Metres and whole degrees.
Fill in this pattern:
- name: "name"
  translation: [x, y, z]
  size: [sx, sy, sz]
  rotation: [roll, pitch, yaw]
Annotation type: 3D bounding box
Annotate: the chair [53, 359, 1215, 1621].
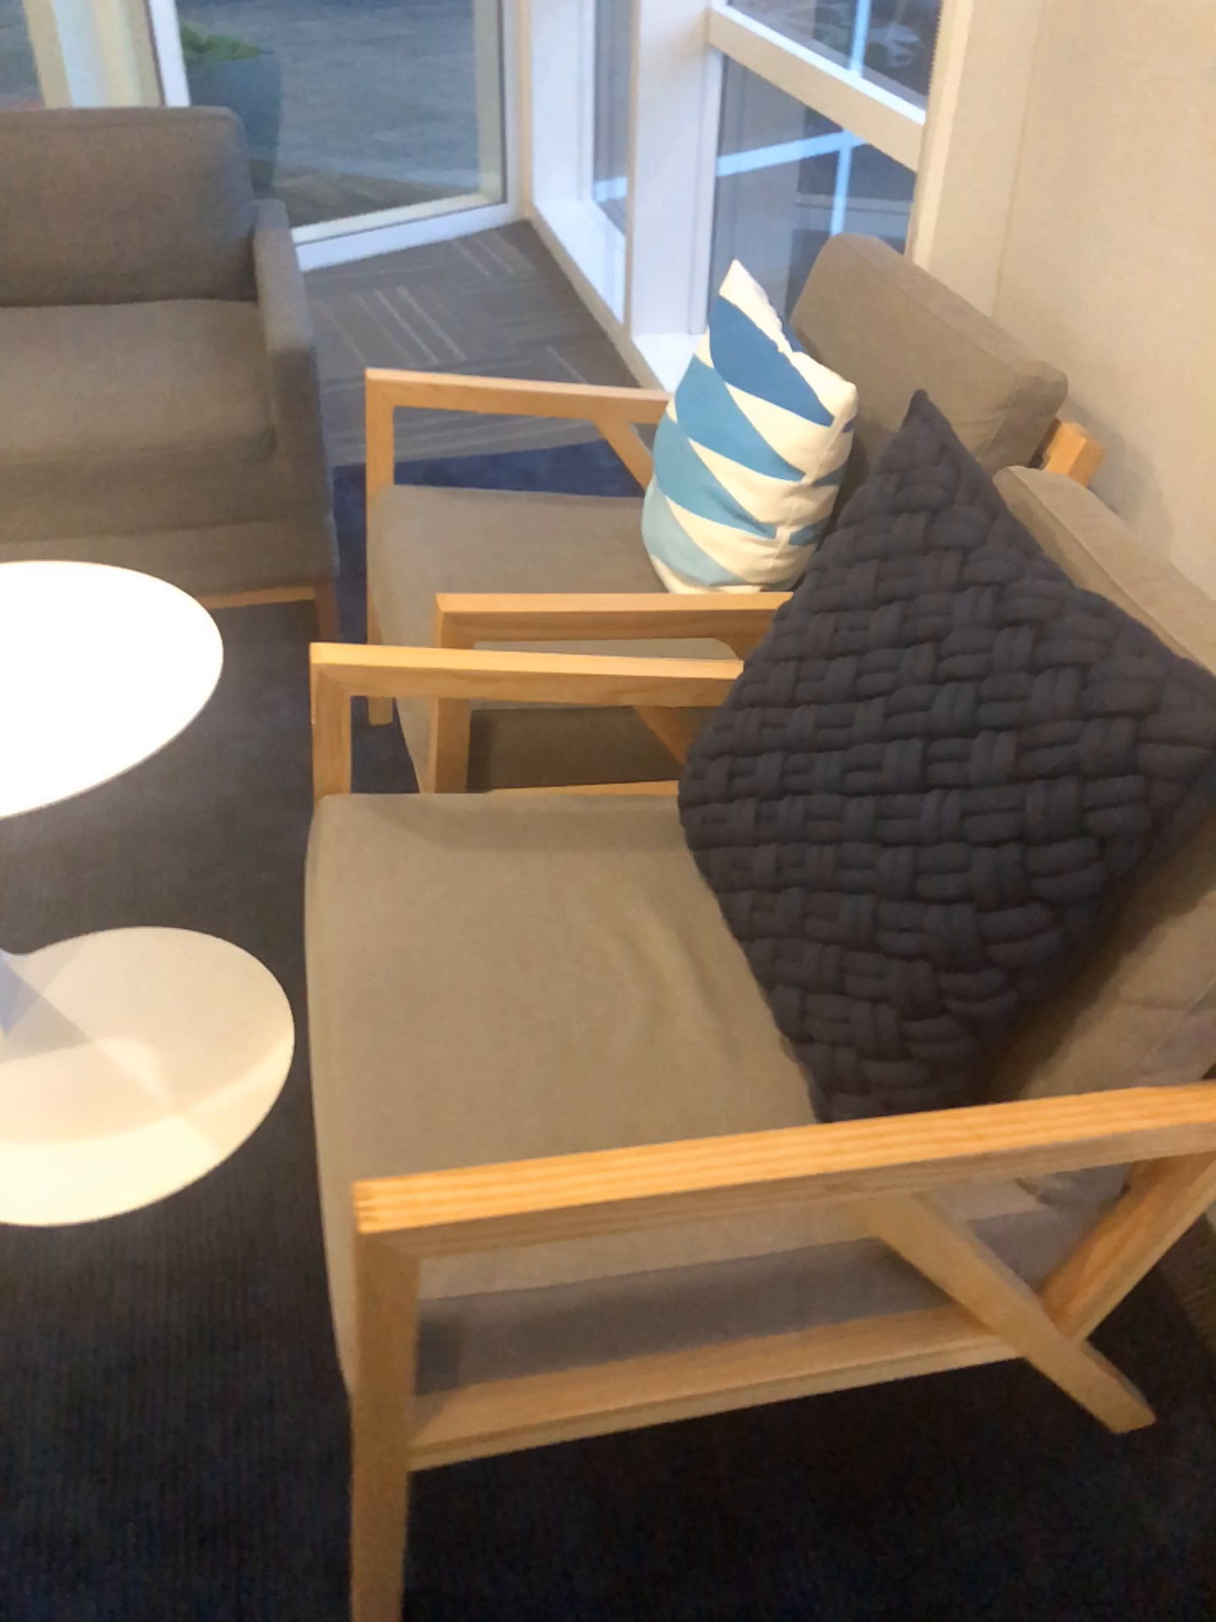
- name: "chair"
  translation: [0.084, 0.139, 1.191]
  size: [0.851, 0.773, 0.745]
  rotation: [-7, 39, -11]
